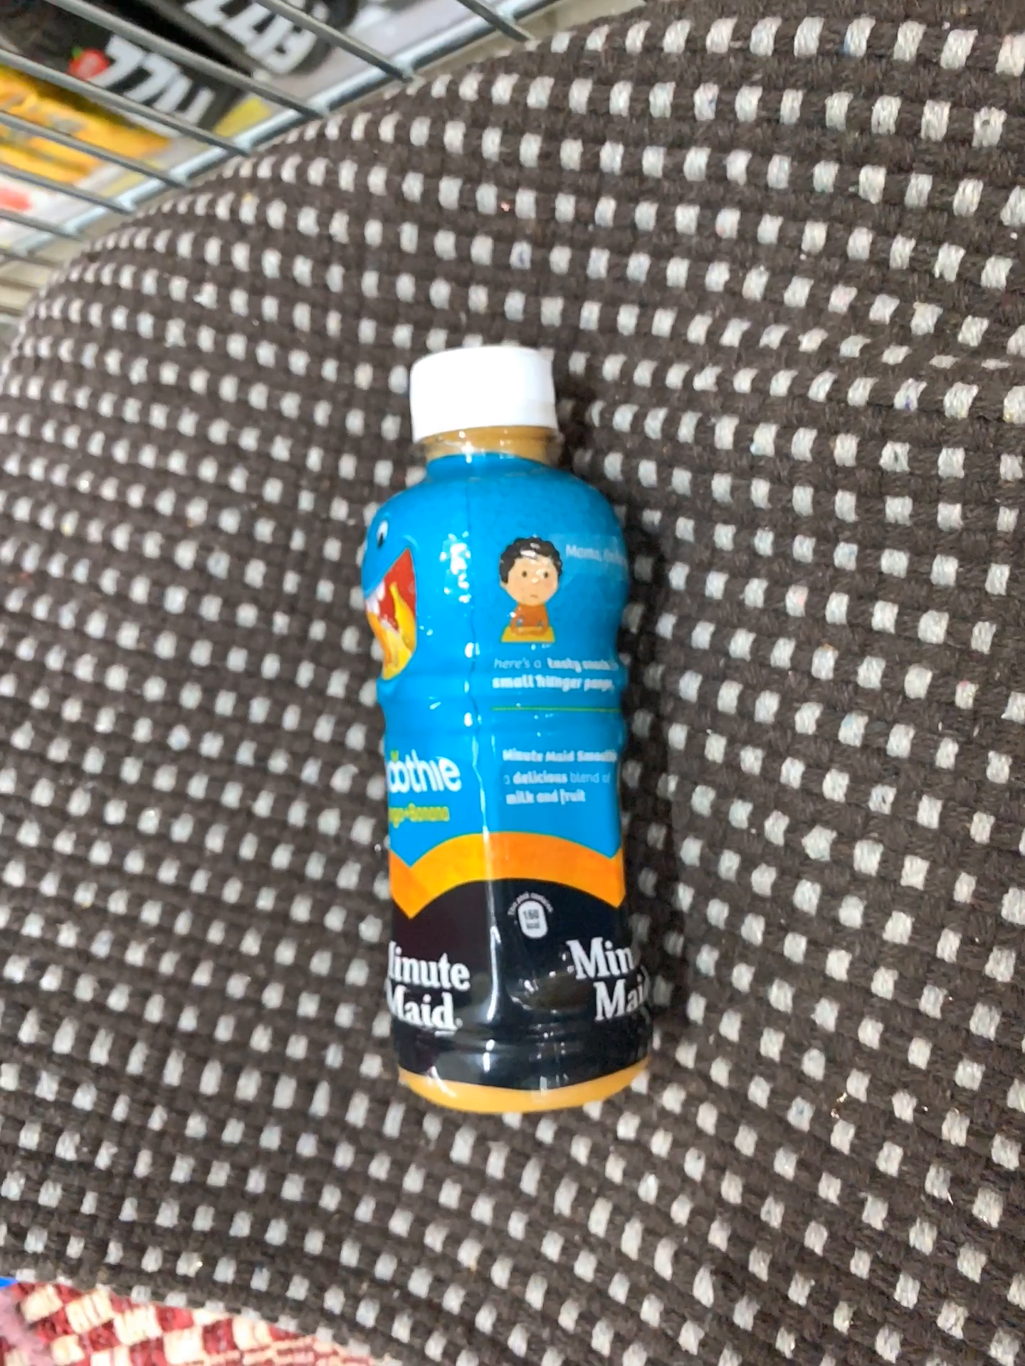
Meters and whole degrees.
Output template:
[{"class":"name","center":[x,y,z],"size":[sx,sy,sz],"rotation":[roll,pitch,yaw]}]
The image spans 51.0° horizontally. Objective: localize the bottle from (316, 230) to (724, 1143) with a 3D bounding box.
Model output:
[{"class":"bottle","center":[0.002,0.002,0.221],"size":[0.060,0.040,0.160],"rotation":[-4,90,32]}]
